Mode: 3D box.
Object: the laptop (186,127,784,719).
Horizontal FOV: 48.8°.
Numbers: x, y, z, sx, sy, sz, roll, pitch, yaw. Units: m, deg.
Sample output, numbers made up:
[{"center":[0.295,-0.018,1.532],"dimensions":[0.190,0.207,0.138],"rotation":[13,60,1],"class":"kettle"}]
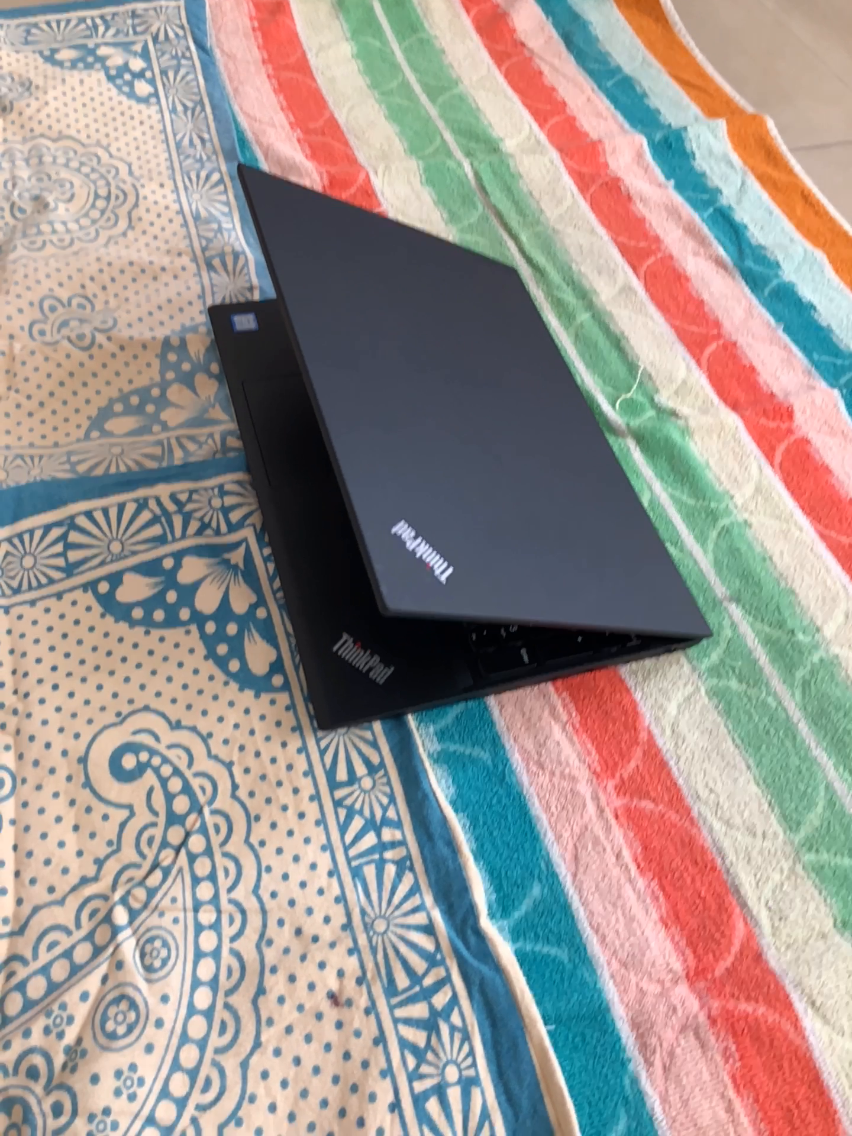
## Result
[{"center":[0.013,-0.112,0.591],"dimensions":[0.243,0.121,0.346],"rotation":[-11,59,-15],"class":"laptop"}]
